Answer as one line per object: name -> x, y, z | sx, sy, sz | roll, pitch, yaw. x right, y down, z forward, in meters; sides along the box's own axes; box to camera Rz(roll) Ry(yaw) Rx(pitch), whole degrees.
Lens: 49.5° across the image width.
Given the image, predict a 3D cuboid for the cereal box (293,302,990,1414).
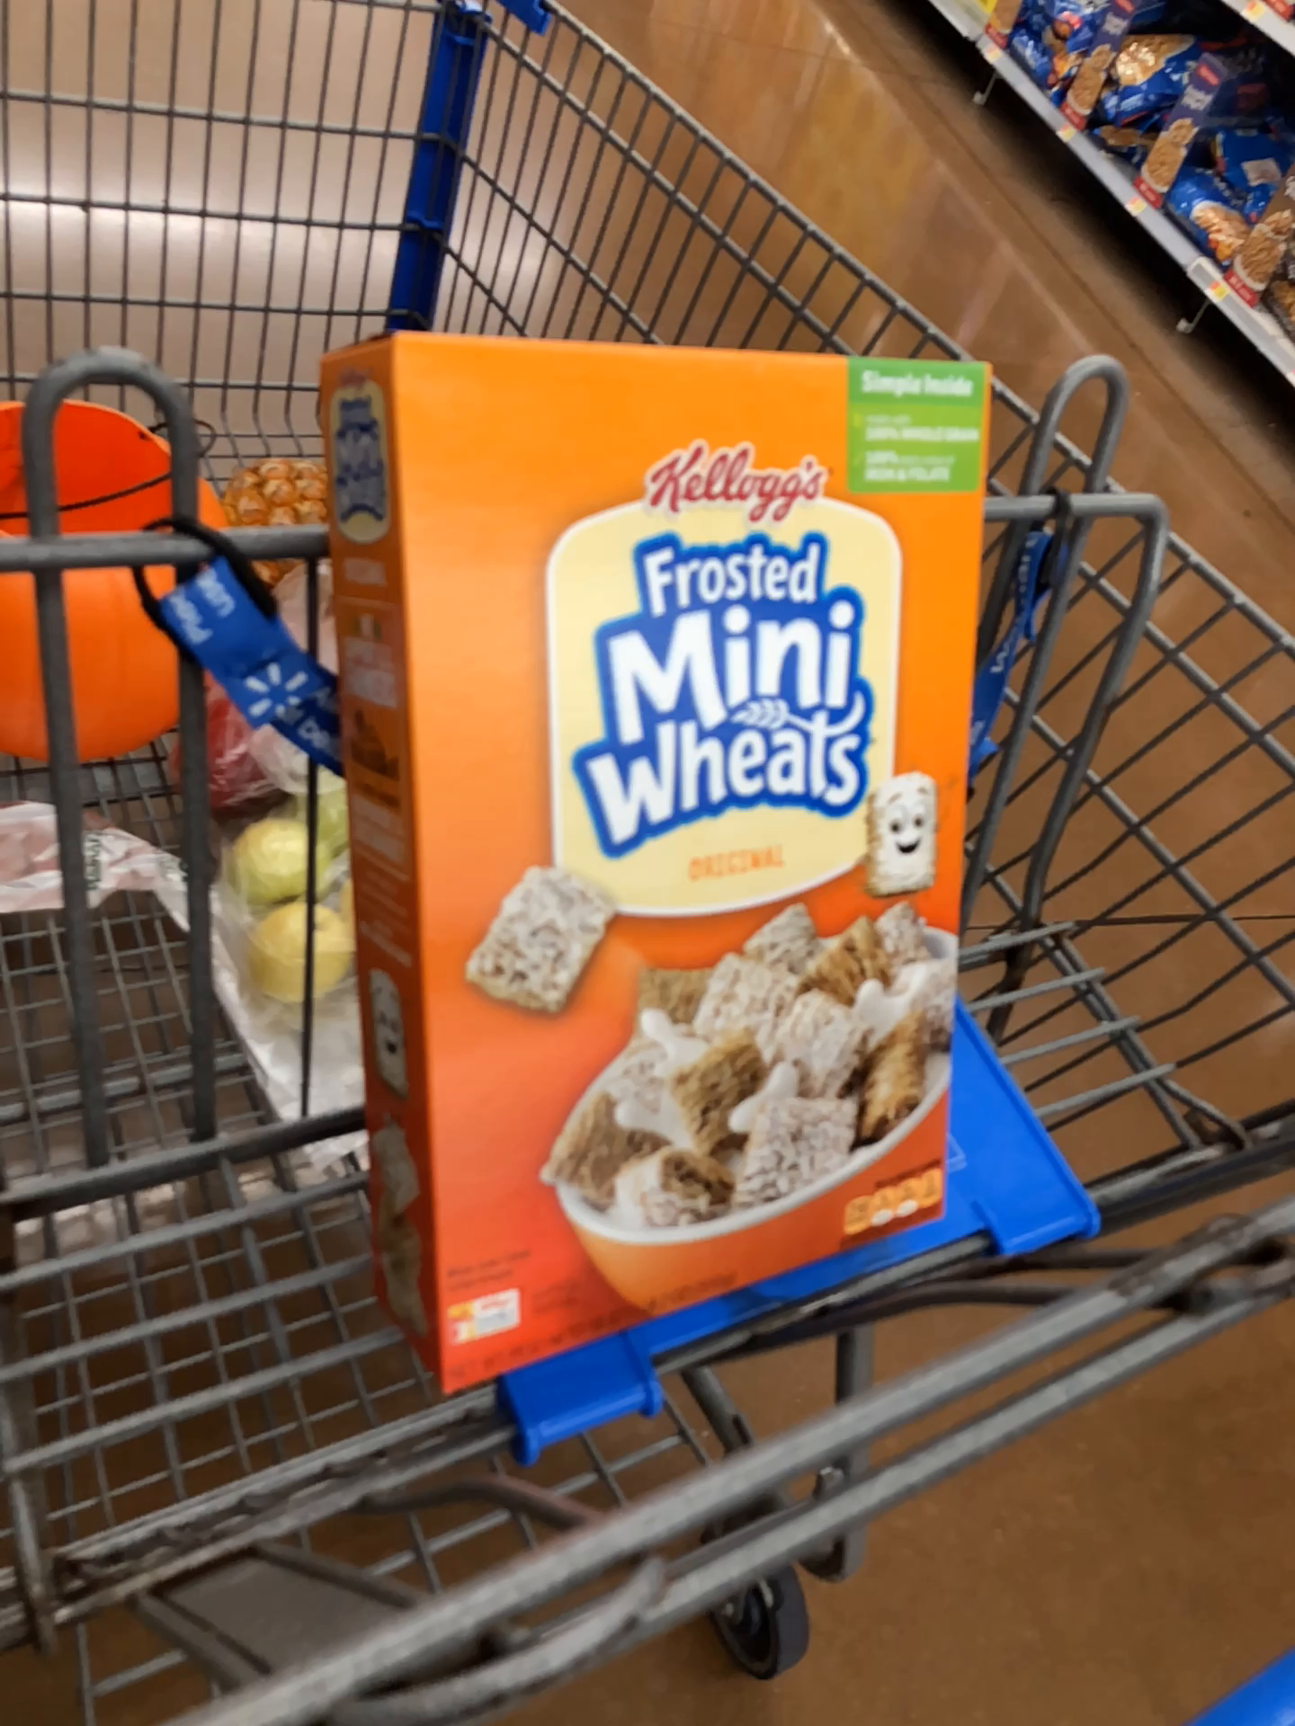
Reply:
cereal box -> 0.007, -0.009, 0.434 | 0.190, 0.290, 0.070 | -10, 17, -32
